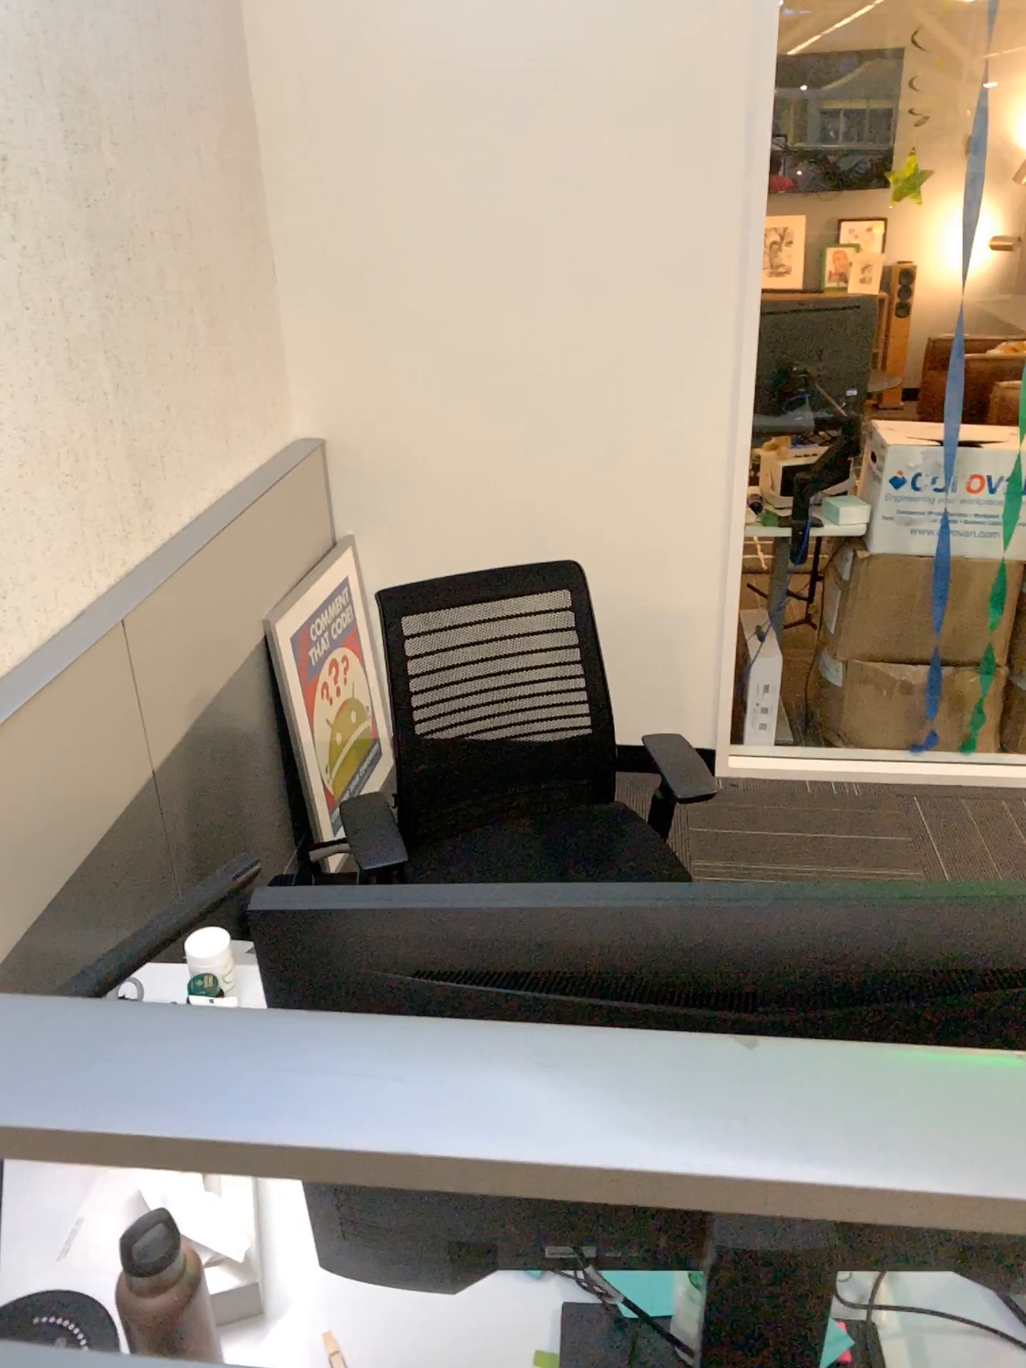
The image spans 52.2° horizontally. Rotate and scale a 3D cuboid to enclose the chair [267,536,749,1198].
[{"bbox_3d":[-0.034,0.309,2.069,0.670,0.954,0.654,-11,28,-18],"label":"chair"}]
